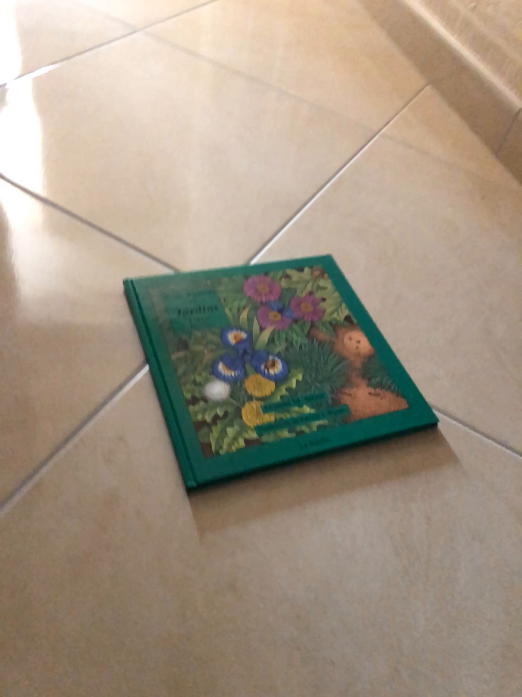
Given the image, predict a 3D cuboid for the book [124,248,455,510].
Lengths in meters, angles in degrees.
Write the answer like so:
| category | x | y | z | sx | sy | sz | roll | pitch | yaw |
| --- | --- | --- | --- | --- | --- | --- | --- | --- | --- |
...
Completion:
| category | x | y | z | sx | sy | sz | roll | pitch | yaw |
| --- | --- | --- | --- | --- | --- | --- | --- | --- | --- |
| book | 0.016 | 0.006 | 0.546 | 0.241 | 0.030 | 0.241 | -11 | 52 | -20 |
